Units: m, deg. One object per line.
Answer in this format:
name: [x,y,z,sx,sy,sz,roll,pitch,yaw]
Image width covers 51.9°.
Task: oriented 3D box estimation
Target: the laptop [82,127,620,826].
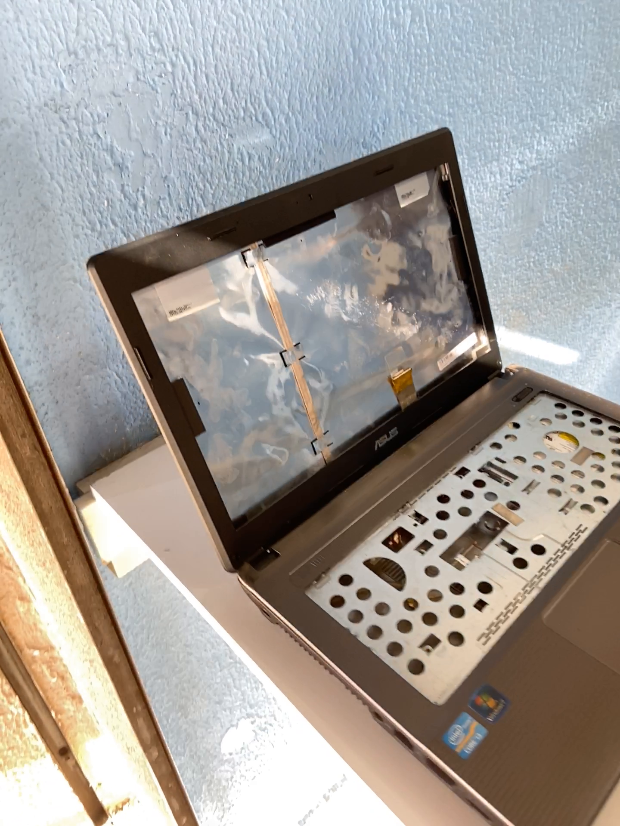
laptop: [0.113,-0.021,0.414,0.337,0.202,0.327,-32,44,-32]
